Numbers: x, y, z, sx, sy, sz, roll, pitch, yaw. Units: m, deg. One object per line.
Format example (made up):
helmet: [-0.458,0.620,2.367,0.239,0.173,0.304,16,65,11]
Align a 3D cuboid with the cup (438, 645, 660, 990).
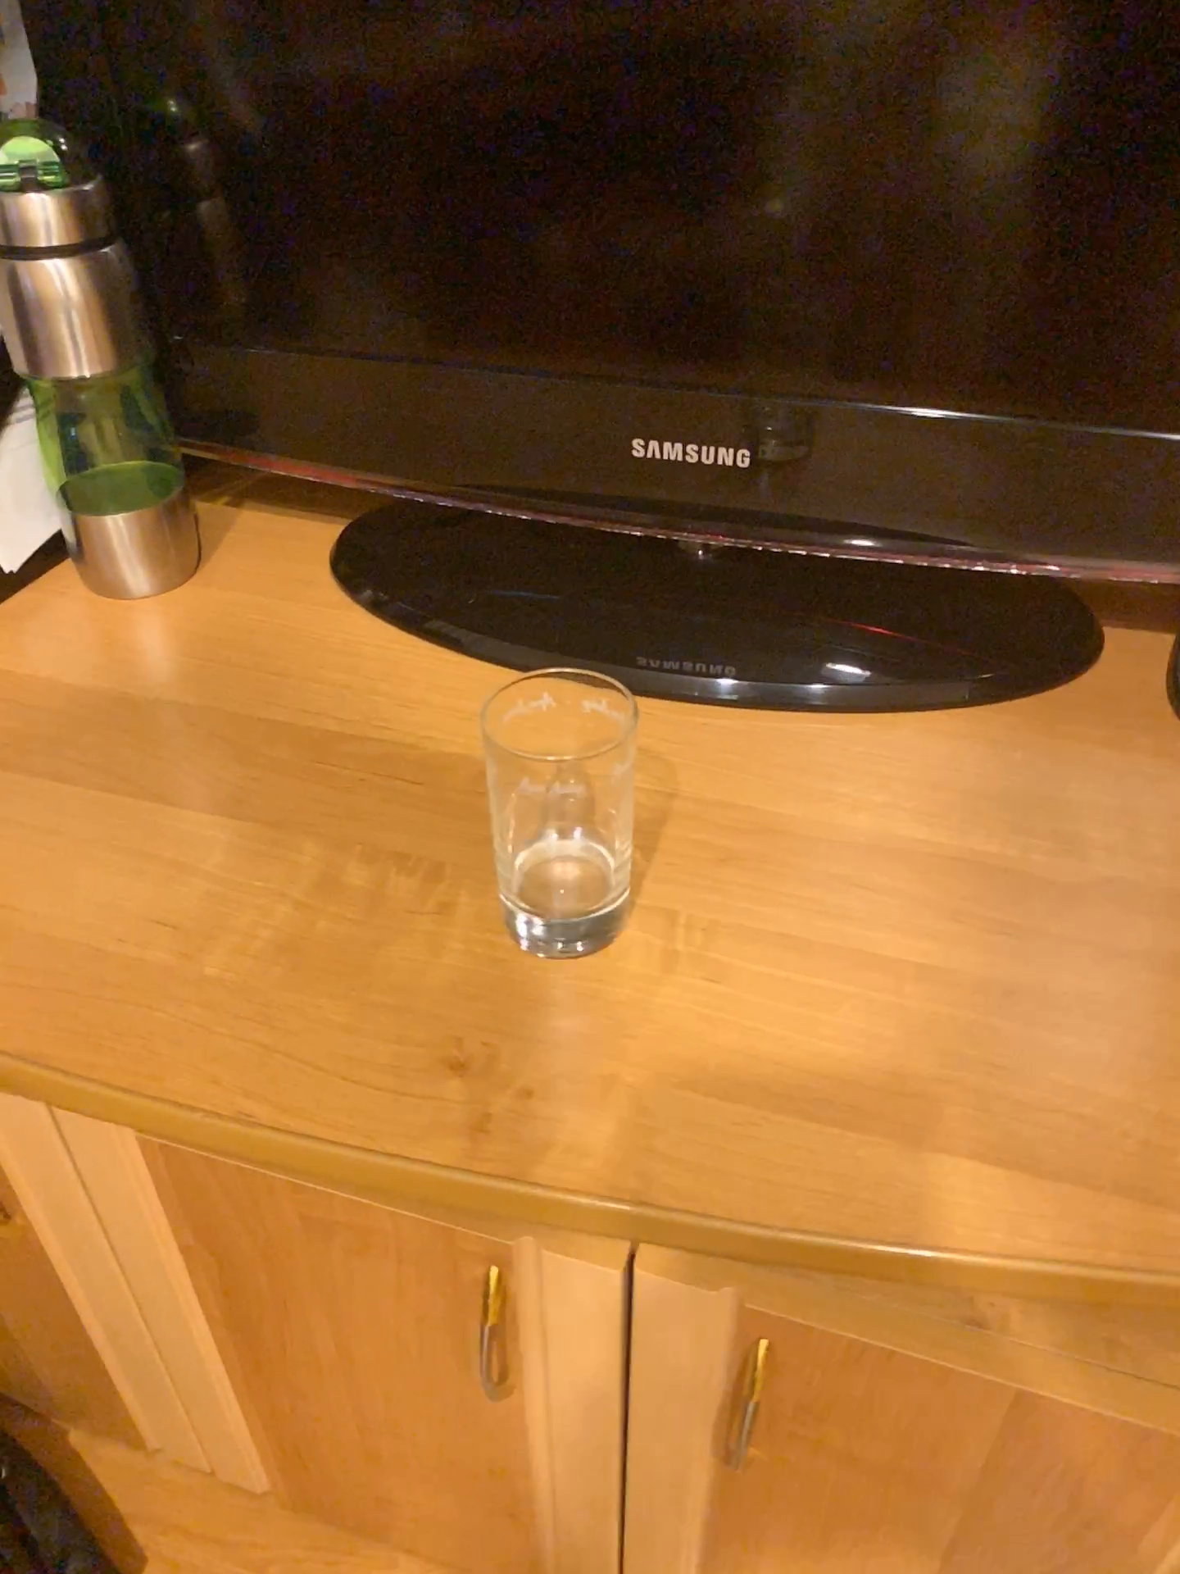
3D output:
cup: [-0.014,0.011,0.444,0.060,0.099,0.060,-1,38,1]
